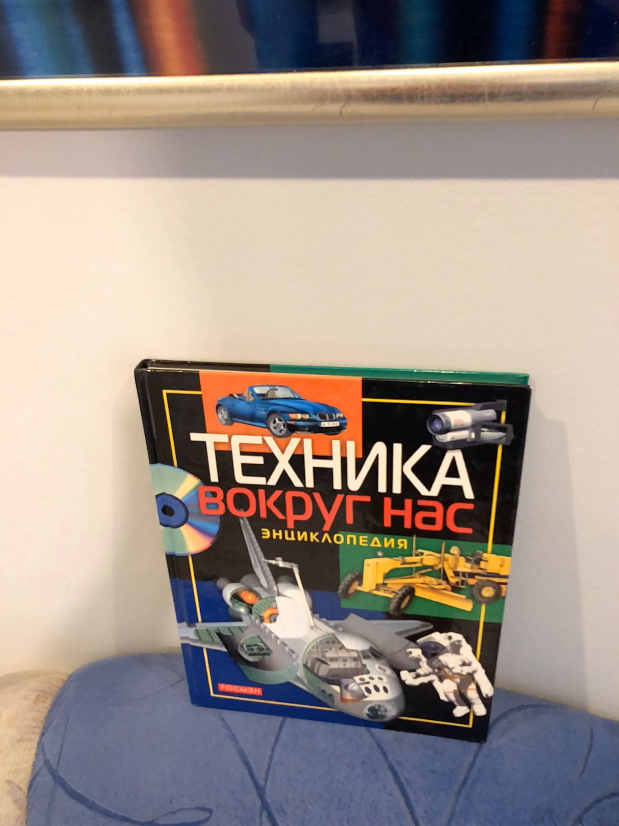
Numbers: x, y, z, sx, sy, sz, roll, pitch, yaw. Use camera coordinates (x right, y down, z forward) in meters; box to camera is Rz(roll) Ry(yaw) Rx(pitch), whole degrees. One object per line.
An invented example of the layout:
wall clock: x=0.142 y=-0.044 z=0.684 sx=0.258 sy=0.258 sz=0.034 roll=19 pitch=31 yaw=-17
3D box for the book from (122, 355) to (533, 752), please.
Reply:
book: x=0.013 y=0.100 z=0.438 sx=0.220 sy=0.278 sz=0.030 roll=3 pitch=29 yaw=10
